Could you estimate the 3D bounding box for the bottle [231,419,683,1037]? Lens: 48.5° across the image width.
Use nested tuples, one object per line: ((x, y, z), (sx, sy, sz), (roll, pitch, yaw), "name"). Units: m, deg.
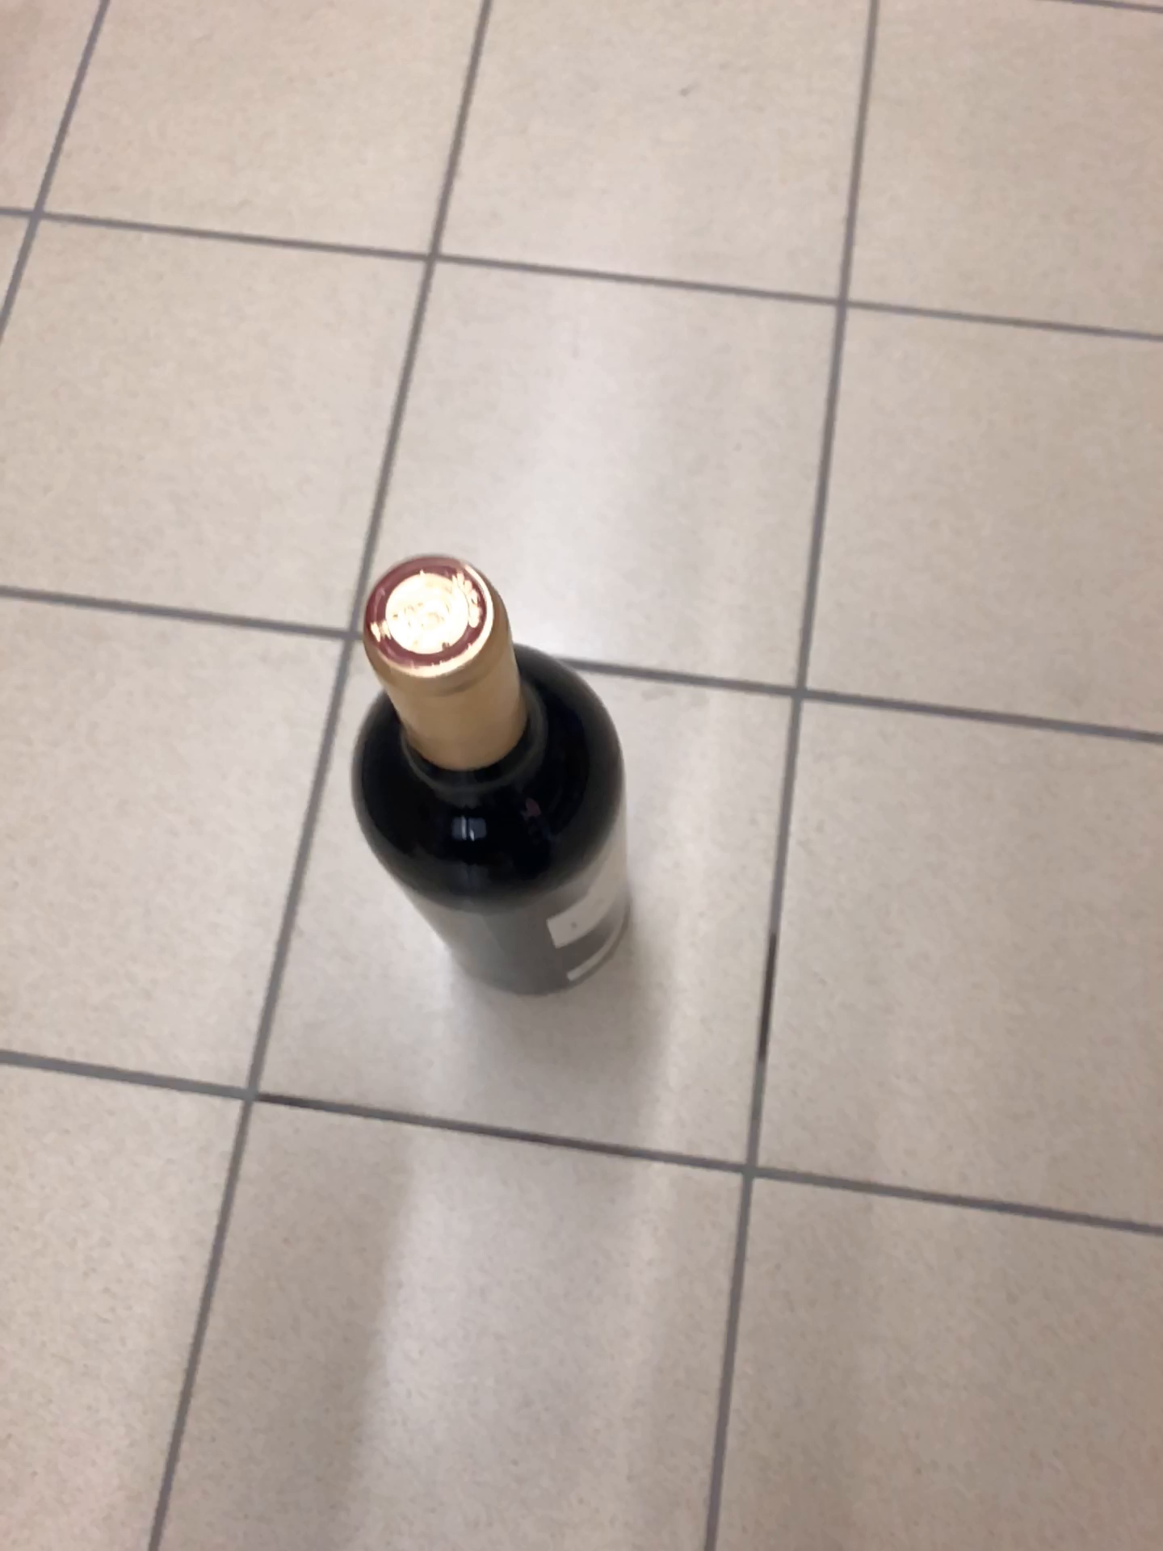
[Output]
((-0.020, 0.016, 0.380), (0.080, 0.290, 0.090), (-2, 73, 1), "bottle")
